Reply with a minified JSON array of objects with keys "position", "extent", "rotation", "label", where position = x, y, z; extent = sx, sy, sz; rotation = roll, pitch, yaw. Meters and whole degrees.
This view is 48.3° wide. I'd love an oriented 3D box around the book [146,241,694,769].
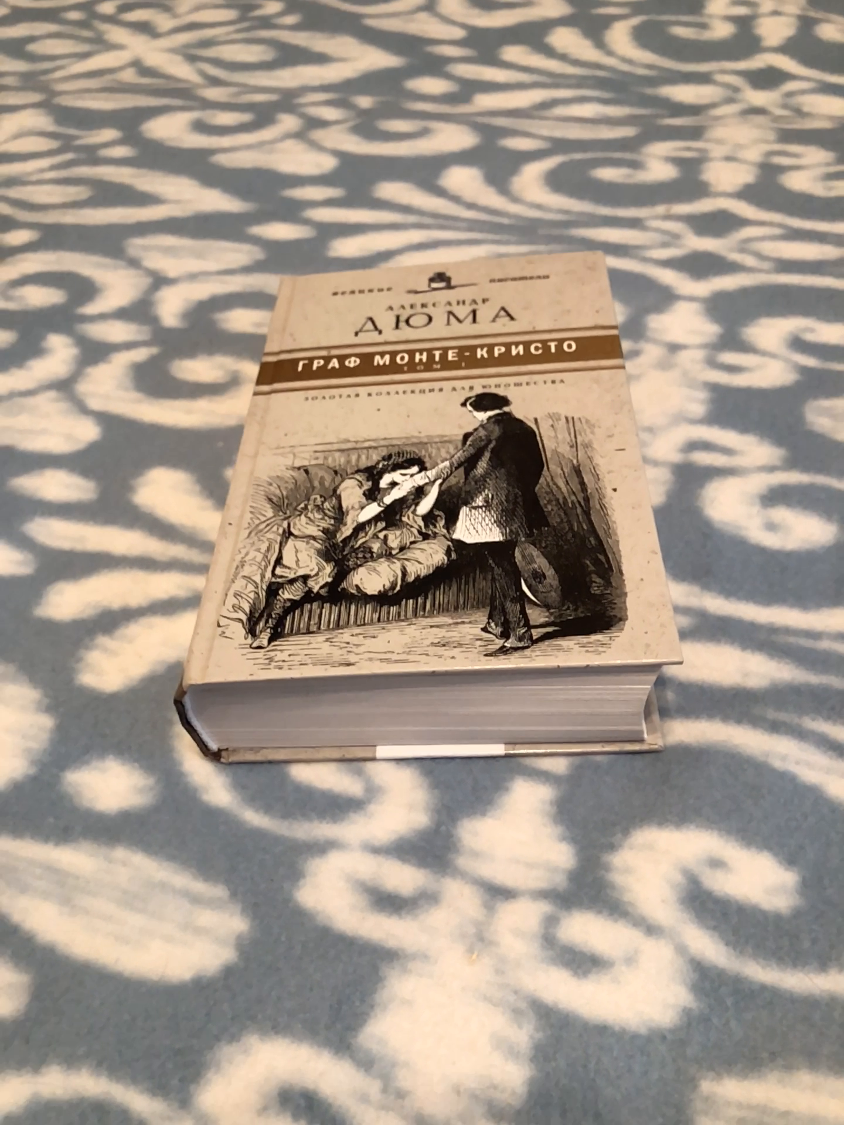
[{"position":[0.002,-0.035,0.323],"extent":[0.138,0.040,0.213],"rotation":[-3,46,5],"label":"book"}]
